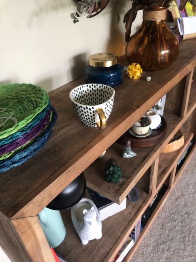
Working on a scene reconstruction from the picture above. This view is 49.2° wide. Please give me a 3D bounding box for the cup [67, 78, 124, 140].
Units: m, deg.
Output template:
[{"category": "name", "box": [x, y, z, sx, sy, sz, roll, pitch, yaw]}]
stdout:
[{"category": "cup", "box": [-0.009, -0.058, 0.511, 0.100, 0.079, 0.131, -11, 36, -10]}]
